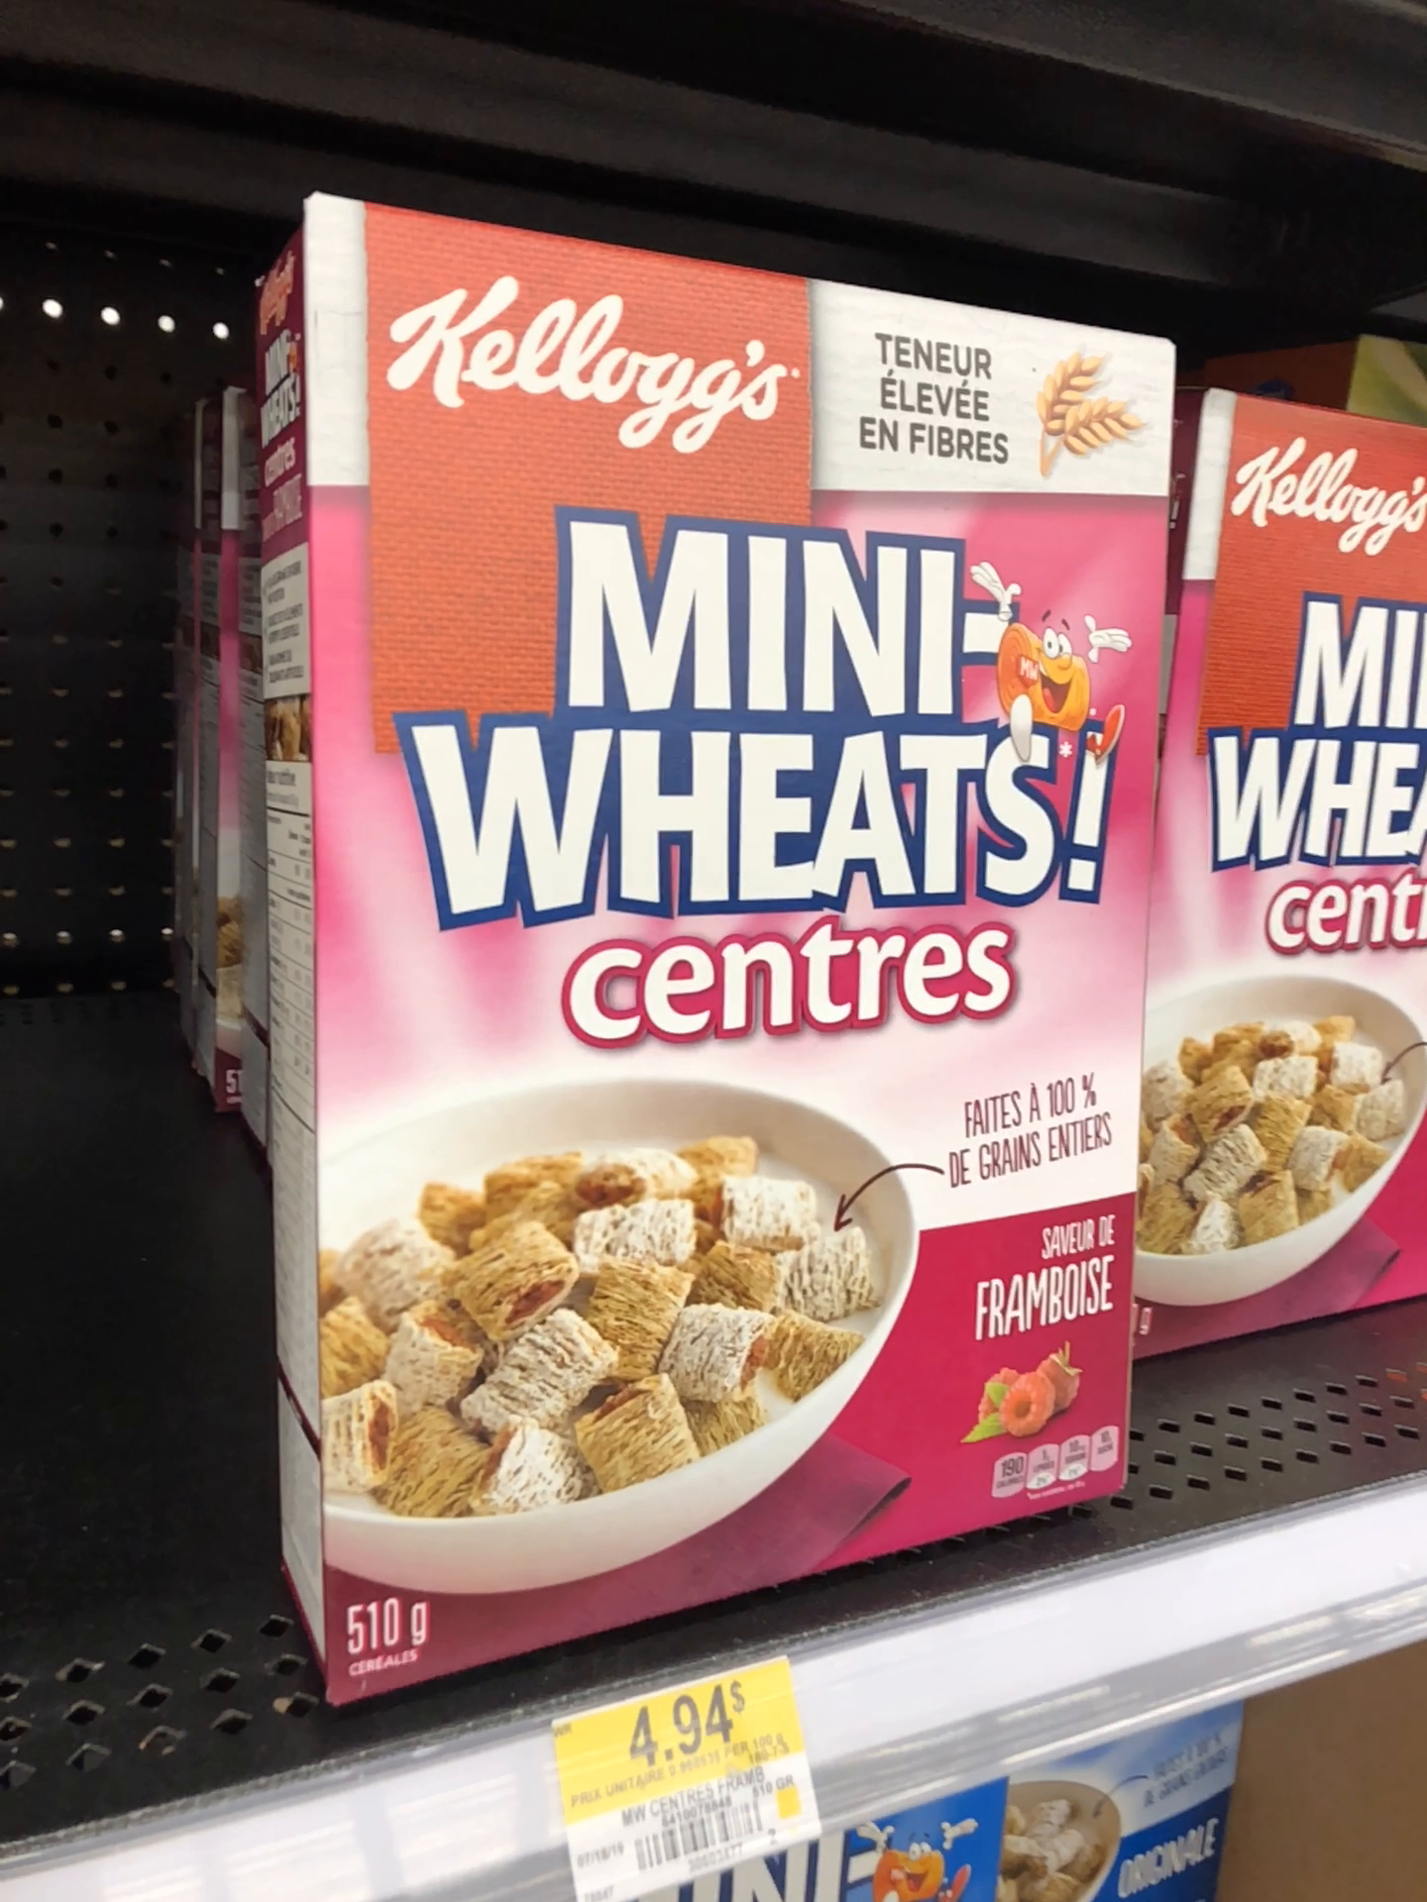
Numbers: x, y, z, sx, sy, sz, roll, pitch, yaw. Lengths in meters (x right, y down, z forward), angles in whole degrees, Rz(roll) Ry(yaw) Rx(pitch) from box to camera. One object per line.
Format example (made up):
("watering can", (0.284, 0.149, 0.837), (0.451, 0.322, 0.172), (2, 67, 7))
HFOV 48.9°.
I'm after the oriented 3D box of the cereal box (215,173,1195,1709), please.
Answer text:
("cereal box", (0.000, -0.004, 0.338), (0.190, 0.259, 0.070), (-3, 8, -27))
